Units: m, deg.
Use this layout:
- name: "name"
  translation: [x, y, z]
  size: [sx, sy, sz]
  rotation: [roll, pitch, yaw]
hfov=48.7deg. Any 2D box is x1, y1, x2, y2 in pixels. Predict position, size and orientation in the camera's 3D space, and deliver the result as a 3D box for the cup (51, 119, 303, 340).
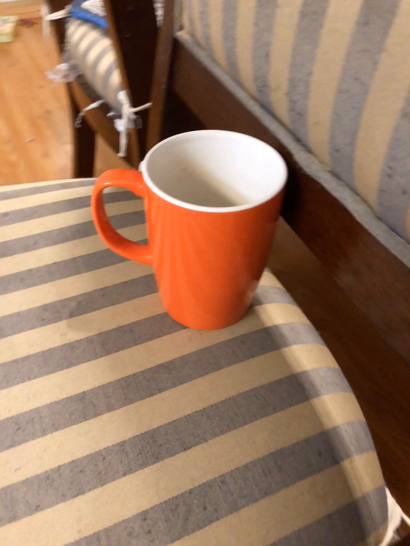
- name: "cup"
  translation: [-0.014, -0.026, 0.283]
  size: [0.120, 0.099, 0.091]
  rotation: [1, 47, -1]
